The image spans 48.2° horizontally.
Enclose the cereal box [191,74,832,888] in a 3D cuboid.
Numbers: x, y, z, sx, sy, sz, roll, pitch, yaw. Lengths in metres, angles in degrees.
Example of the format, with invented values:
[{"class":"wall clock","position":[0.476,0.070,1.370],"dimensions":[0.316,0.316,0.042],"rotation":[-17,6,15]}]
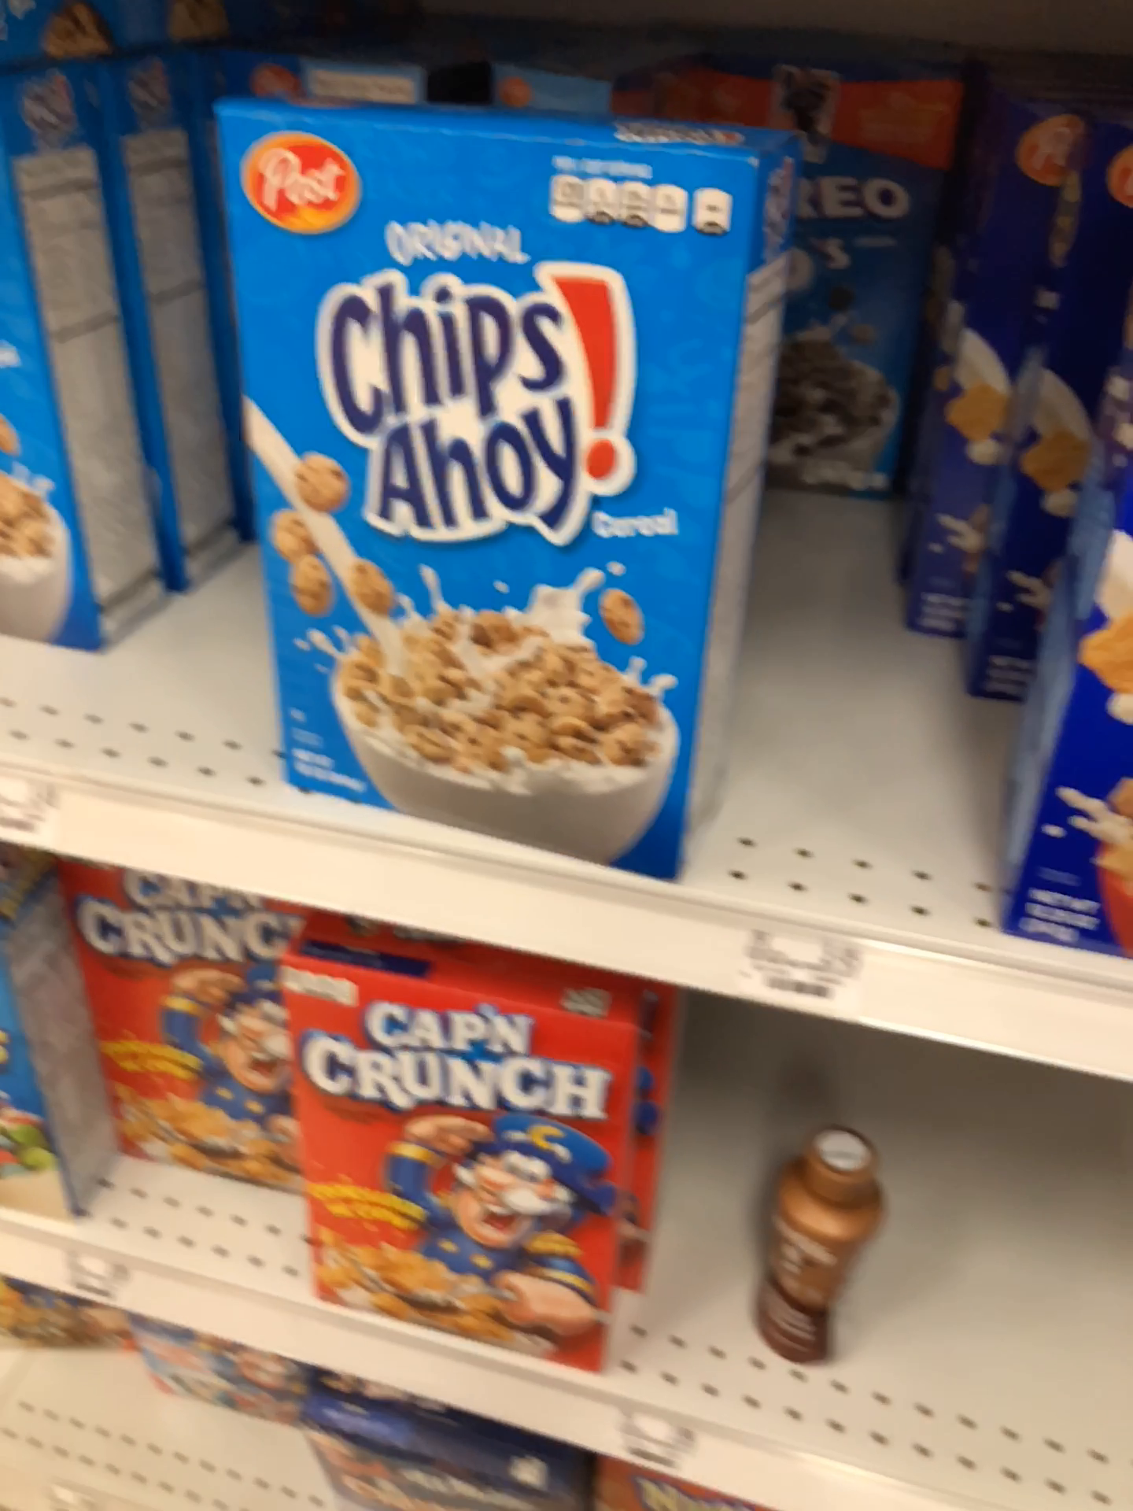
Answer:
[{"class":"cereal box","position":[-0.022,-0.100,0.475],"dimensions":[0.190,0.259,0.080],"rotation":[13,33,16]}]
